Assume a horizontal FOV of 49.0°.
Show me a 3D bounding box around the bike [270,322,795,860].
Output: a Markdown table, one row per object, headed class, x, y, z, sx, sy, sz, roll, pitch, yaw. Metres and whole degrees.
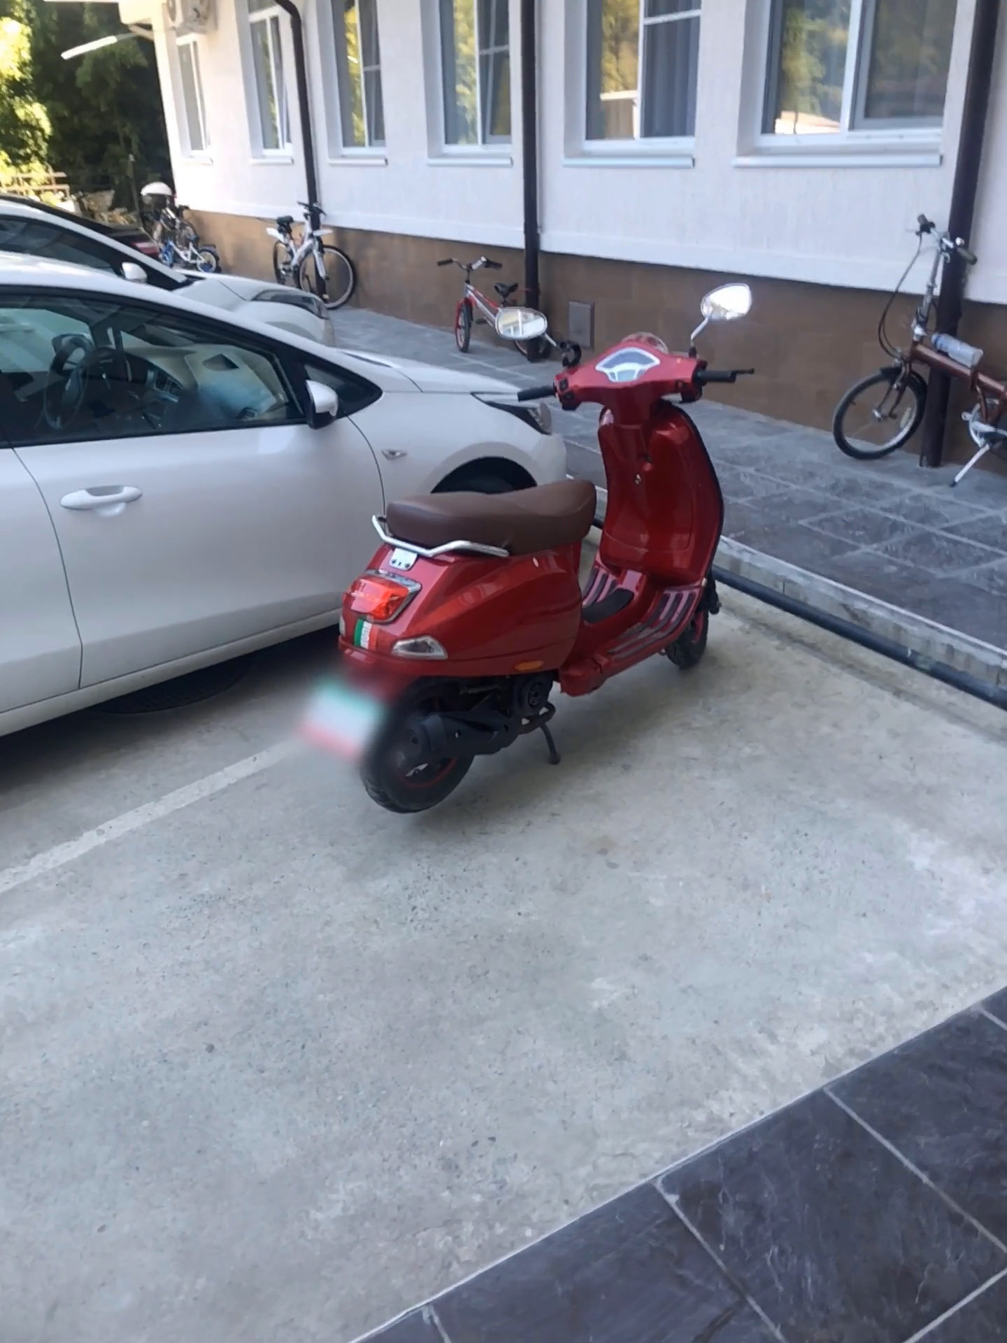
| class | x | y | z | sx | sy | sz | roll | pitch | yaw |
| --- | --- | --- | --- | --- | --- | --- | --- | --- | --- |
| bike | 0.175 | -0.351 | 3.107 | 0.536 | 0.950 | 1.597 | 18 | 32 | 36 |
